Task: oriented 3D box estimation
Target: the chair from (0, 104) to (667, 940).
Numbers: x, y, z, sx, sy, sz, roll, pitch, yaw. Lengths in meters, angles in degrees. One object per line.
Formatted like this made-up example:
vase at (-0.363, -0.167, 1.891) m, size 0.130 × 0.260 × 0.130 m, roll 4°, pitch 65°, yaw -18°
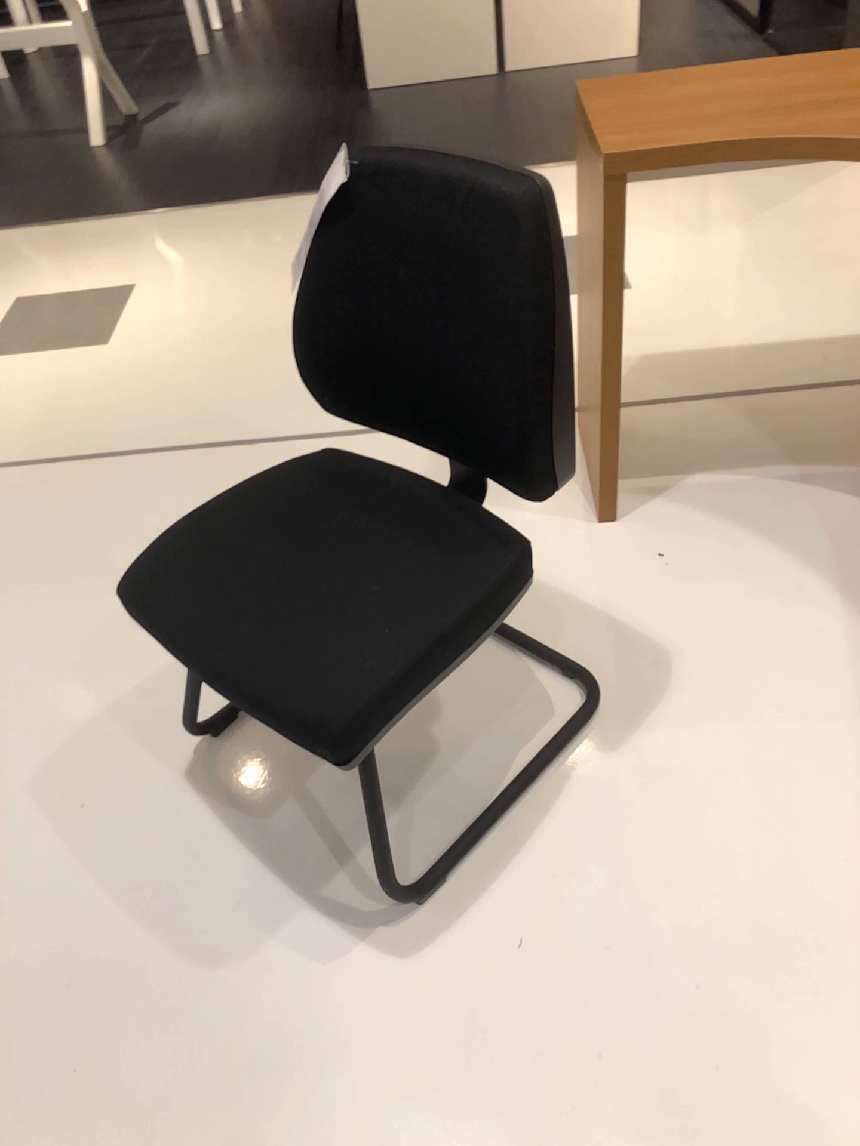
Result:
chair at (-0.084, -0.073, 1.322) m, size 0.552 × 0.873 × 0.562 m, roll 27°, pitch 52°, yaw 33°
